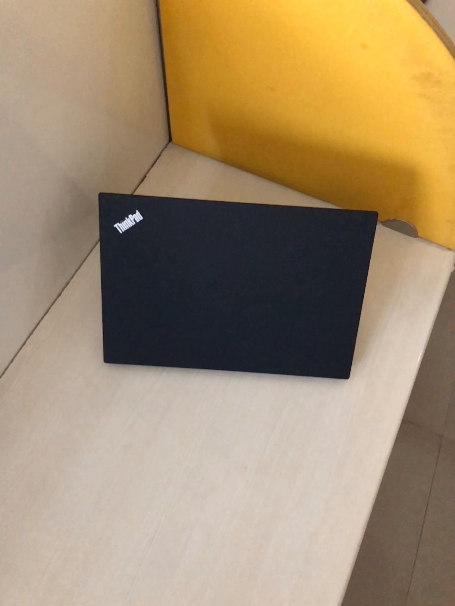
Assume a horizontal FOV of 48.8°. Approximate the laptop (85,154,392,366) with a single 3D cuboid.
[{"bbox_3d":[0.012,-0.059,0.708,0.349,0.166,0.240,3,60,0],"label":"laptop"}]
